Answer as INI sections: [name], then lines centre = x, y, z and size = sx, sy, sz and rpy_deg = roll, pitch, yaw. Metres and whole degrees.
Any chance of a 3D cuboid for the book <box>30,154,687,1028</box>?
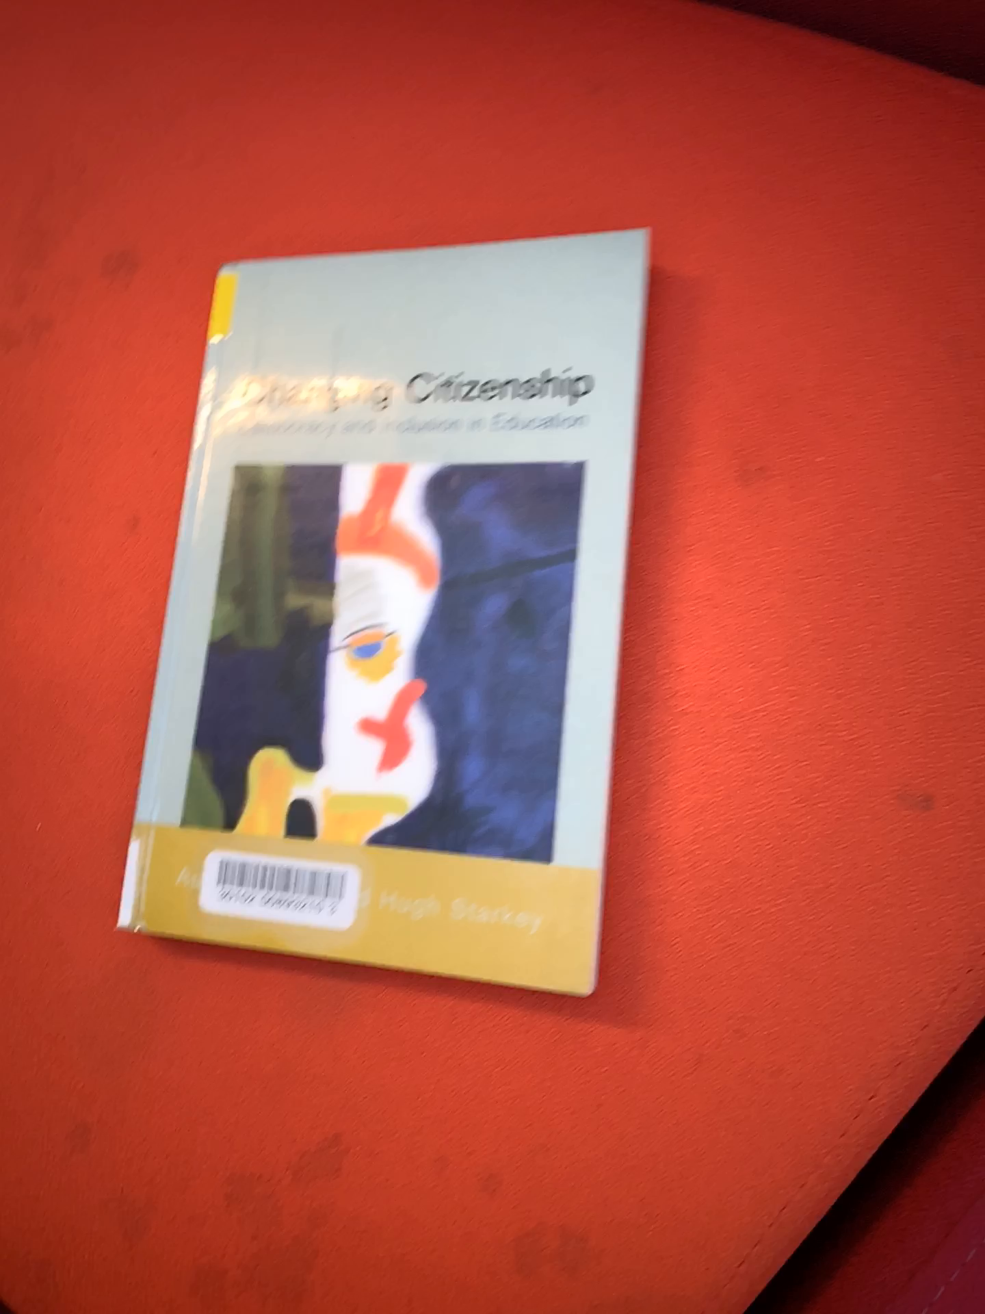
[book]
centre = -0.038, -0.028, 0.326
size = 0.180, 0.040, 0.250
rpy_deg = 3, 79, 17
